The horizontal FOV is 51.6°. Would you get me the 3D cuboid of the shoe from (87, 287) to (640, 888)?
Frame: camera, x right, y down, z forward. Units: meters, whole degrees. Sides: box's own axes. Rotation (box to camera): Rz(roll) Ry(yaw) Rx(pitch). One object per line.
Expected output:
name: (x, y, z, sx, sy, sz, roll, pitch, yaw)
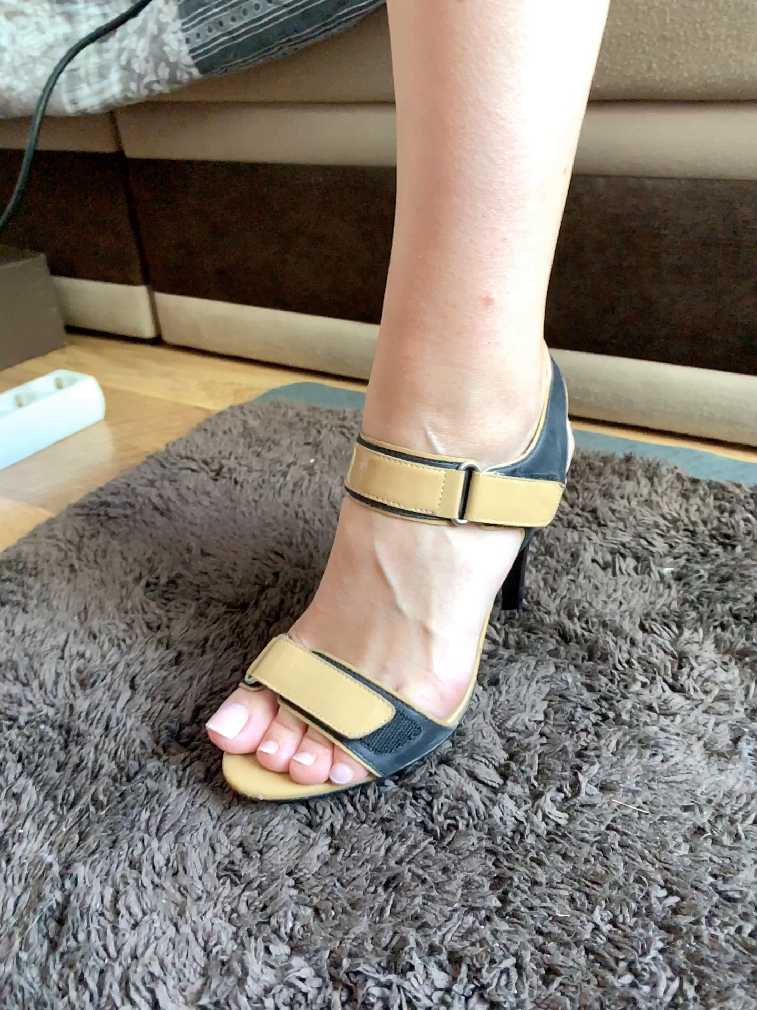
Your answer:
shoe: (0.010, 0.015, 0.326, 0.090, 0.149, 0.200, 24, 40, 37)
